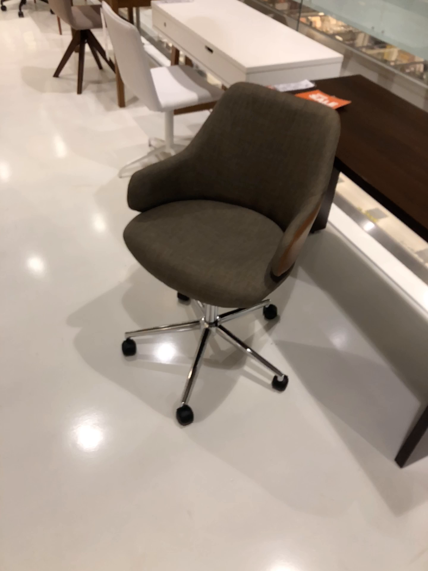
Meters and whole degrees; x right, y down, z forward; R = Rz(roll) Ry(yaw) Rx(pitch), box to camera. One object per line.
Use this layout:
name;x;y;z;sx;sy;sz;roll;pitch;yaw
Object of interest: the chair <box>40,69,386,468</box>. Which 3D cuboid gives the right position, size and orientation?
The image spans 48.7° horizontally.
chair;0.017;-0.072;1.513;0.611;0.883;0.704;25;46;21
